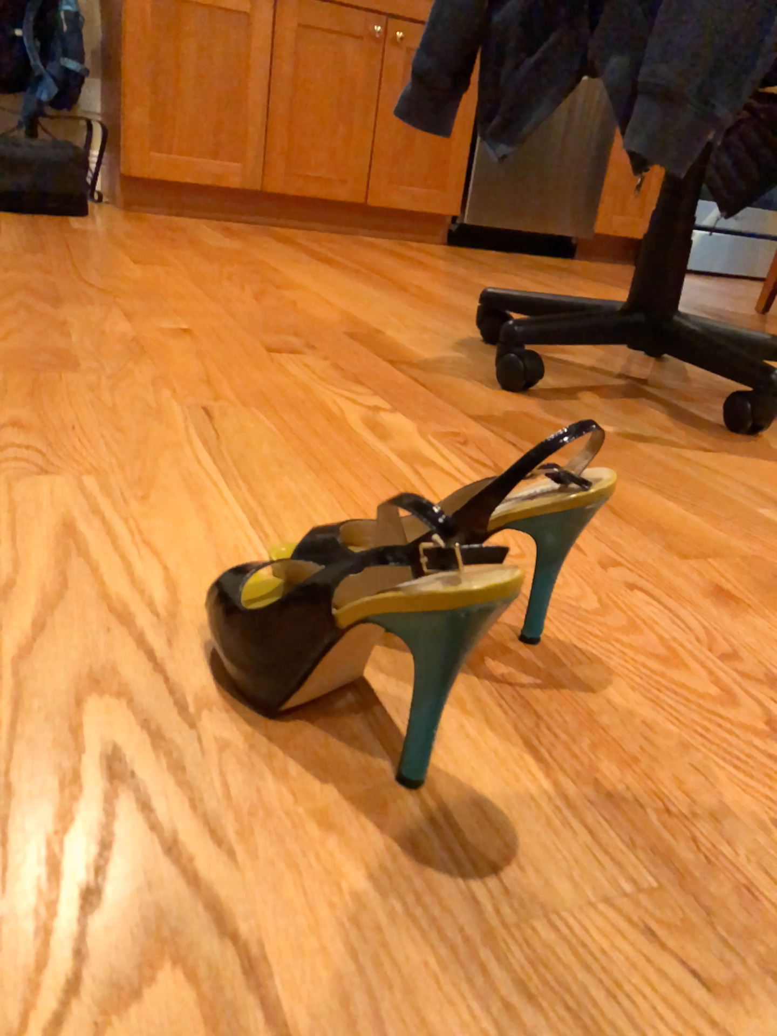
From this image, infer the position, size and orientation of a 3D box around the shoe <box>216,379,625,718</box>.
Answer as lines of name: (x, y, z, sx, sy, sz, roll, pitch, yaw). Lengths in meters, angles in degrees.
shoe: (0.017, 0.012, 0.485, 0.201, 0.131, 0.085, 12, 22, 9)

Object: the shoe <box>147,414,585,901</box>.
shoe: (-0.028, 0.043, 0.394, 0.085, 0.121, 0.205, -10, 28, -37)
